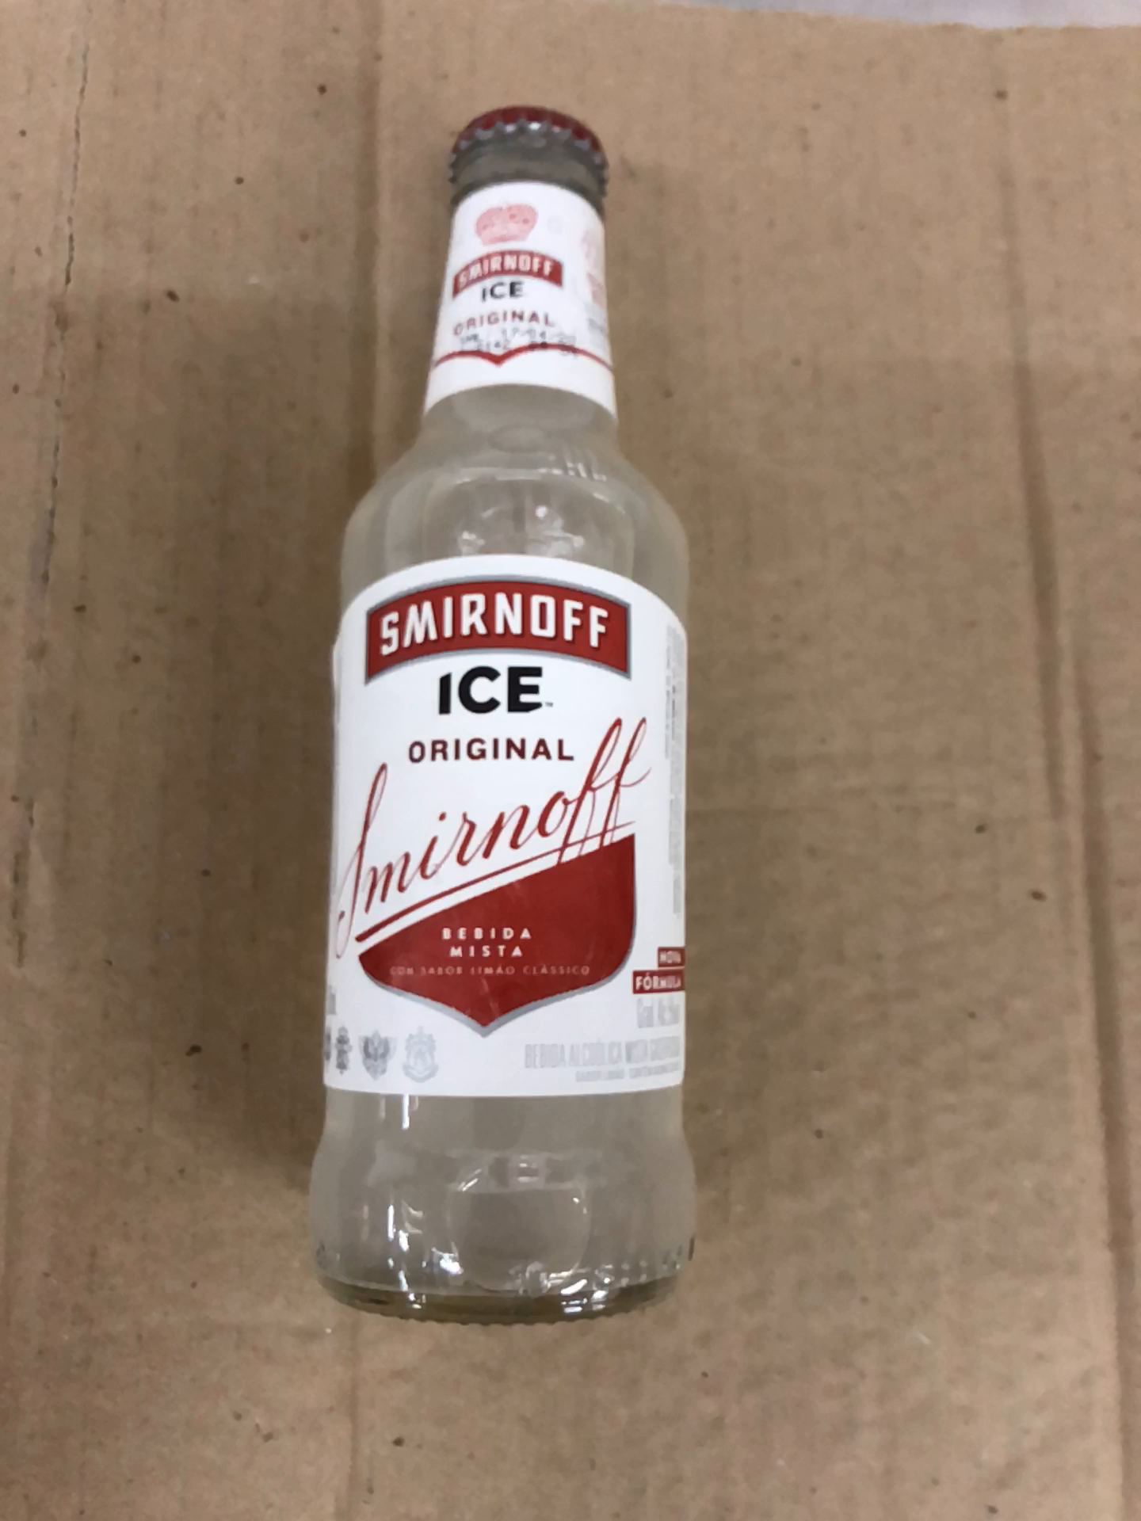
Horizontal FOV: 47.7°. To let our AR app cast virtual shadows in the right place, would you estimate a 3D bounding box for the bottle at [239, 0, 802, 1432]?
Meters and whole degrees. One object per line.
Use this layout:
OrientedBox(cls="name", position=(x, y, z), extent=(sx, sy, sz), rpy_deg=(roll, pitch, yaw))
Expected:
OrientedBox(cls="bottle", position=(-0.008, -0.018, 0.201), extent=(0.070, 0.050, 0.210), rpy_deg=(1, 81, -7))
